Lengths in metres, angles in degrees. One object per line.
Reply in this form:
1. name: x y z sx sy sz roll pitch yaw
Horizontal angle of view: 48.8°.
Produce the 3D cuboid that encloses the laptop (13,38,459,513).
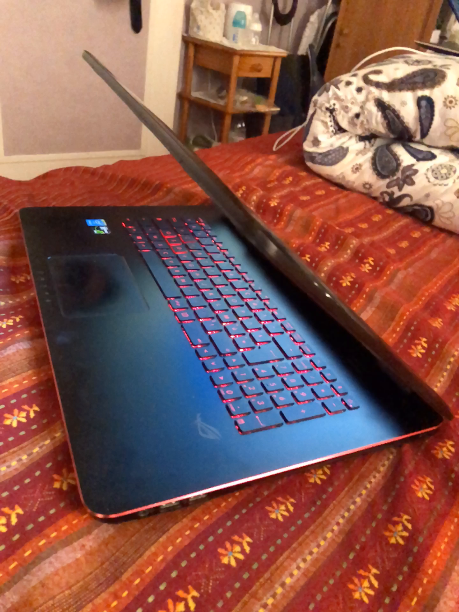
1. laptop: -0.020 -0.083 0.433 0.268 0.168 0.400 -5 36 -25
